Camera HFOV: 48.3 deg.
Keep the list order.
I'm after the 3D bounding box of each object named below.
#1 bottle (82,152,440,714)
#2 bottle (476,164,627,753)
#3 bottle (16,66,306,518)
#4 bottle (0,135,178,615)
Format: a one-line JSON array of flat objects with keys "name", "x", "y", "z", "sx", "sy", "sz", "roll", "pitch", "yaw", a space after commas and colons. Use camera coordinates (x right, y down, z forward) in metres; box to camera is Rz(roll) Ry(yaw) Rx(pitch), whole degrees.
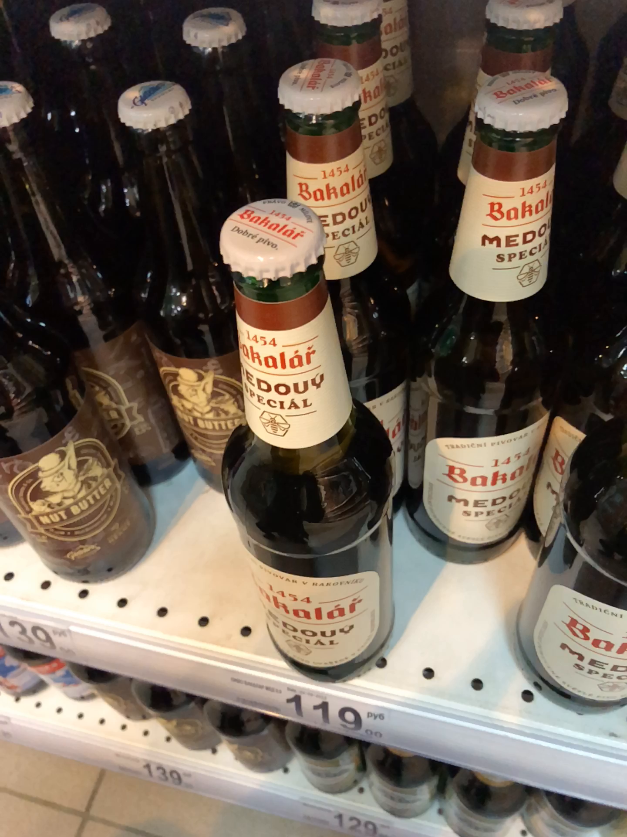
[{"name": "bottle", "x": -0.002, "y": 0.032, "z": 0.276, "sx": 0.070, "sy": 0.249, "sz": 0.066, "roll": -3, "pitch": 51, "yaw": 4}, {"name": "bottle", "x": 0.111, "y": 0.043, "z": 0.250, "sx": 0.065, "sy": 0.249, "sz": 0.061, "roll": -3, "pitch": 51, "yaw": 4}, {"name": "bottle", "x": -0.056, "y": -0.043, "z": 0.350, "sx": 0.069, "sy": 0.231, "sz": 0.061, "roll": 10, "pitch": 53, "yaw": 14}, {"name": "bottle", "x": -0.132, "y": 0.002, "z": 0.325, "sx": 0.069, "sy": 0.233, "sz": 0.061, "roll": -25, "pitch": 53, "yaw": -14}]
